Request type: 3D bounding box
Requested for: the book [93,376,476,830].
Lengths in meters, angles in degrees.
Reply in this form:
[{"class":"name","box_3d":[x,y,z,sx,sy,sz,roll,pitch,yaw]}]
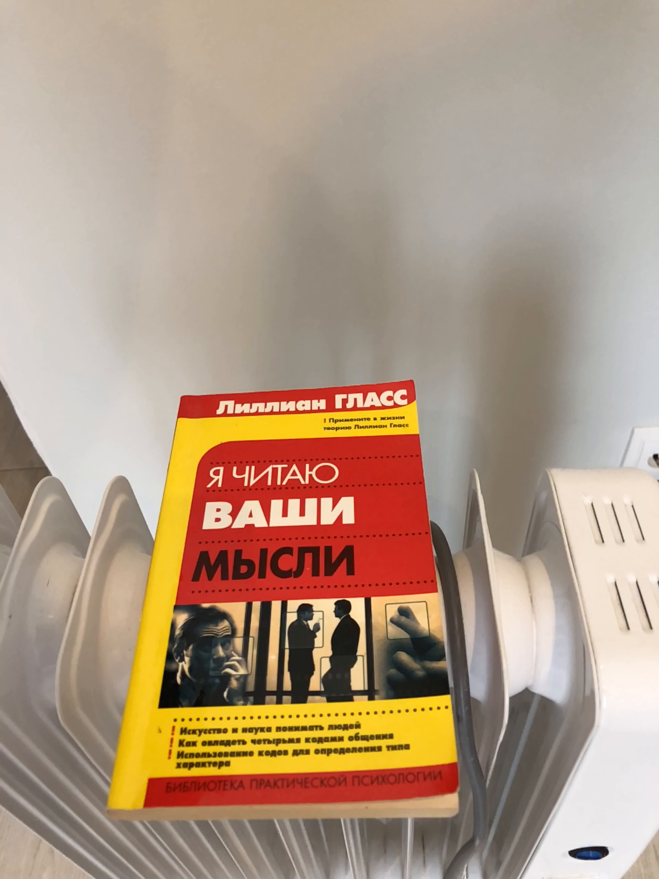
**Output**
[{"class":"book","box_3d":[-0.015,0.053,0.319,0.128,0.020,0.208,-3,47,3]}]
